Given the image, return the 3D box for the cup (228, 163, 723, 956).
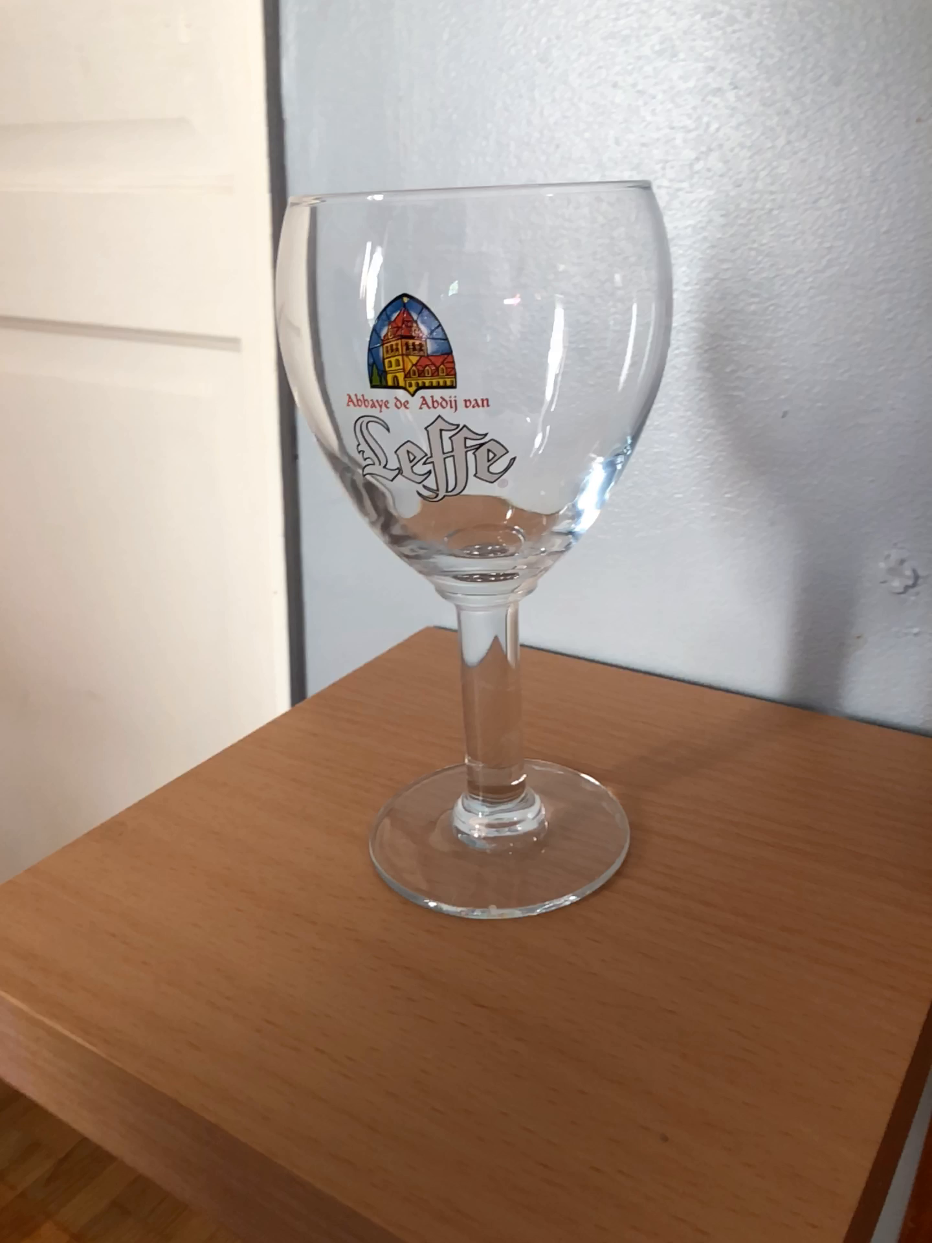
[{"bbox_3d":[0.007,-0.025,0.291,0.095,0.185,0.101,1,20,0],"label":"cup"}]
